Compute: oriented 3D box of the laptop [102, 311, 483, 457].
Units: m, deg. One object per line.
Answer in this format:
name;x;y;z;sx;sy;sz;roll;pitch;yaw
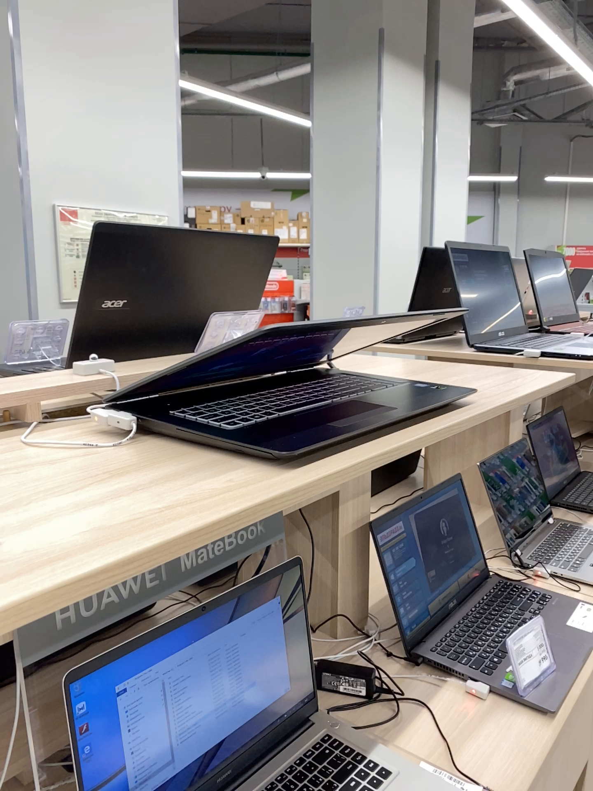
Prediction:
laptop;0.018;-0.043;0.761;0.269;0.095;0.414;11;15;38
